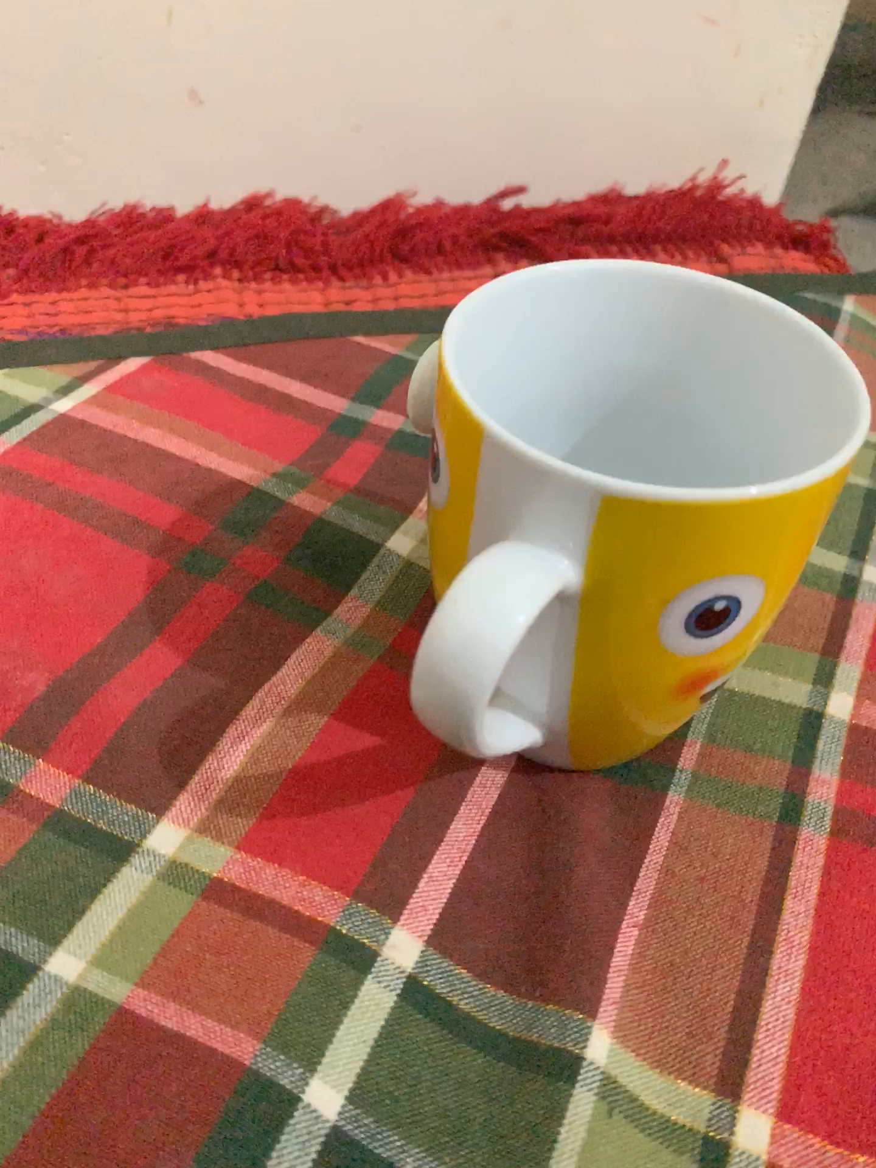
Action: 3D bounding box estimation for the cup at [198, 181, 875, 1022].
[{"bbox_3d":[0.031,-0.007,0.174,0.080,0.080,0.120,28,49,19],"label":"cup"}]
